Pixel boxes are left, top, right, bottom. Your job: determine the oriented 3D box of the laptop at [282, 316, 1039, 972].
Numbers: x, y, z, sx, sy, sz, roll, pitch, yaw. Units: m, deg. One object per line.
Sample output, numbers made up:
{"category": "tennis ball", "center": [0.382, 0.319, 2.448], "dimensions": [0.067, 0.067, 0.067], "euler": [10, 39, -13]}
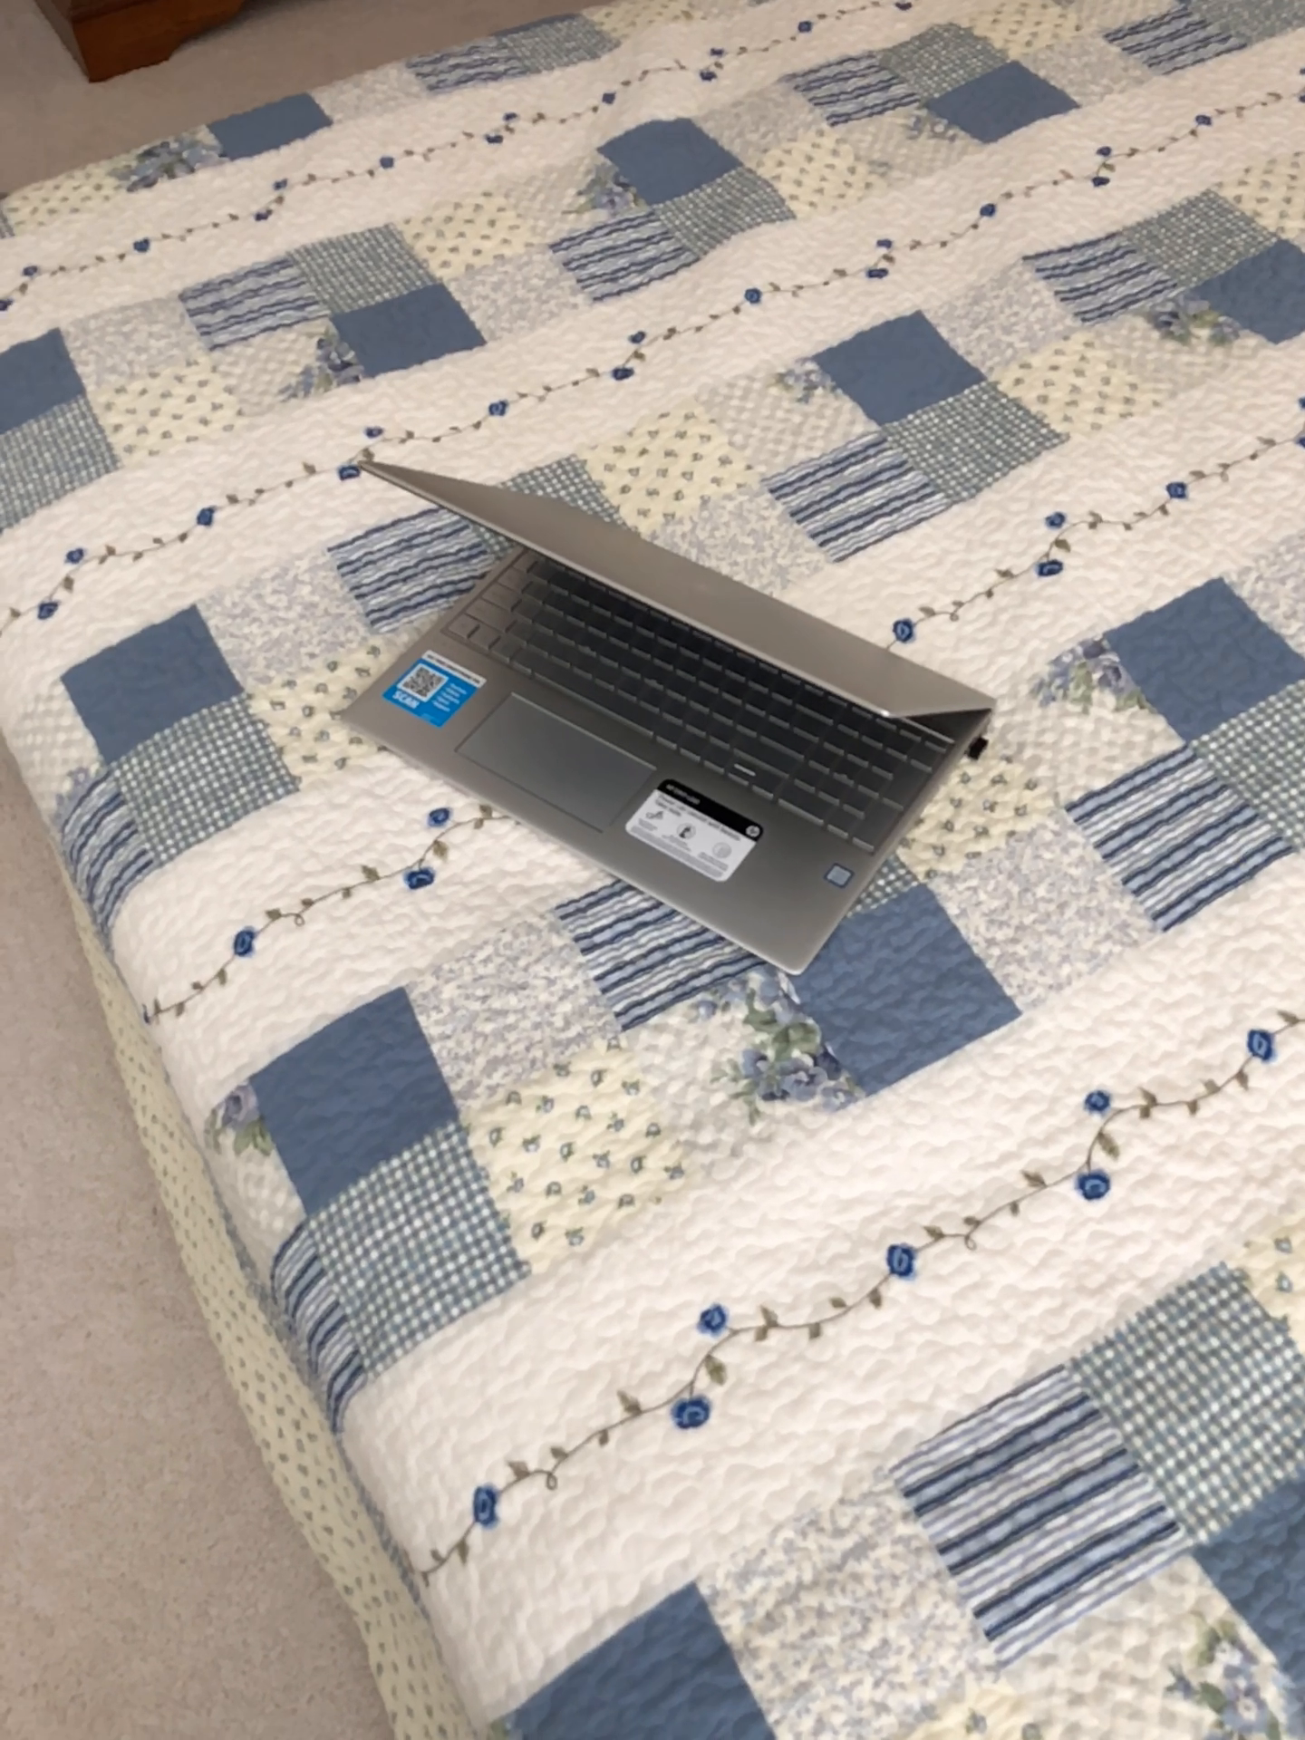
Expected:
{"category": "laptop", "center": [0.006, -0.148, 0.860], "dimensions": [0.348, 0.158, 0.242], "euler": [29, 61, 20]}
